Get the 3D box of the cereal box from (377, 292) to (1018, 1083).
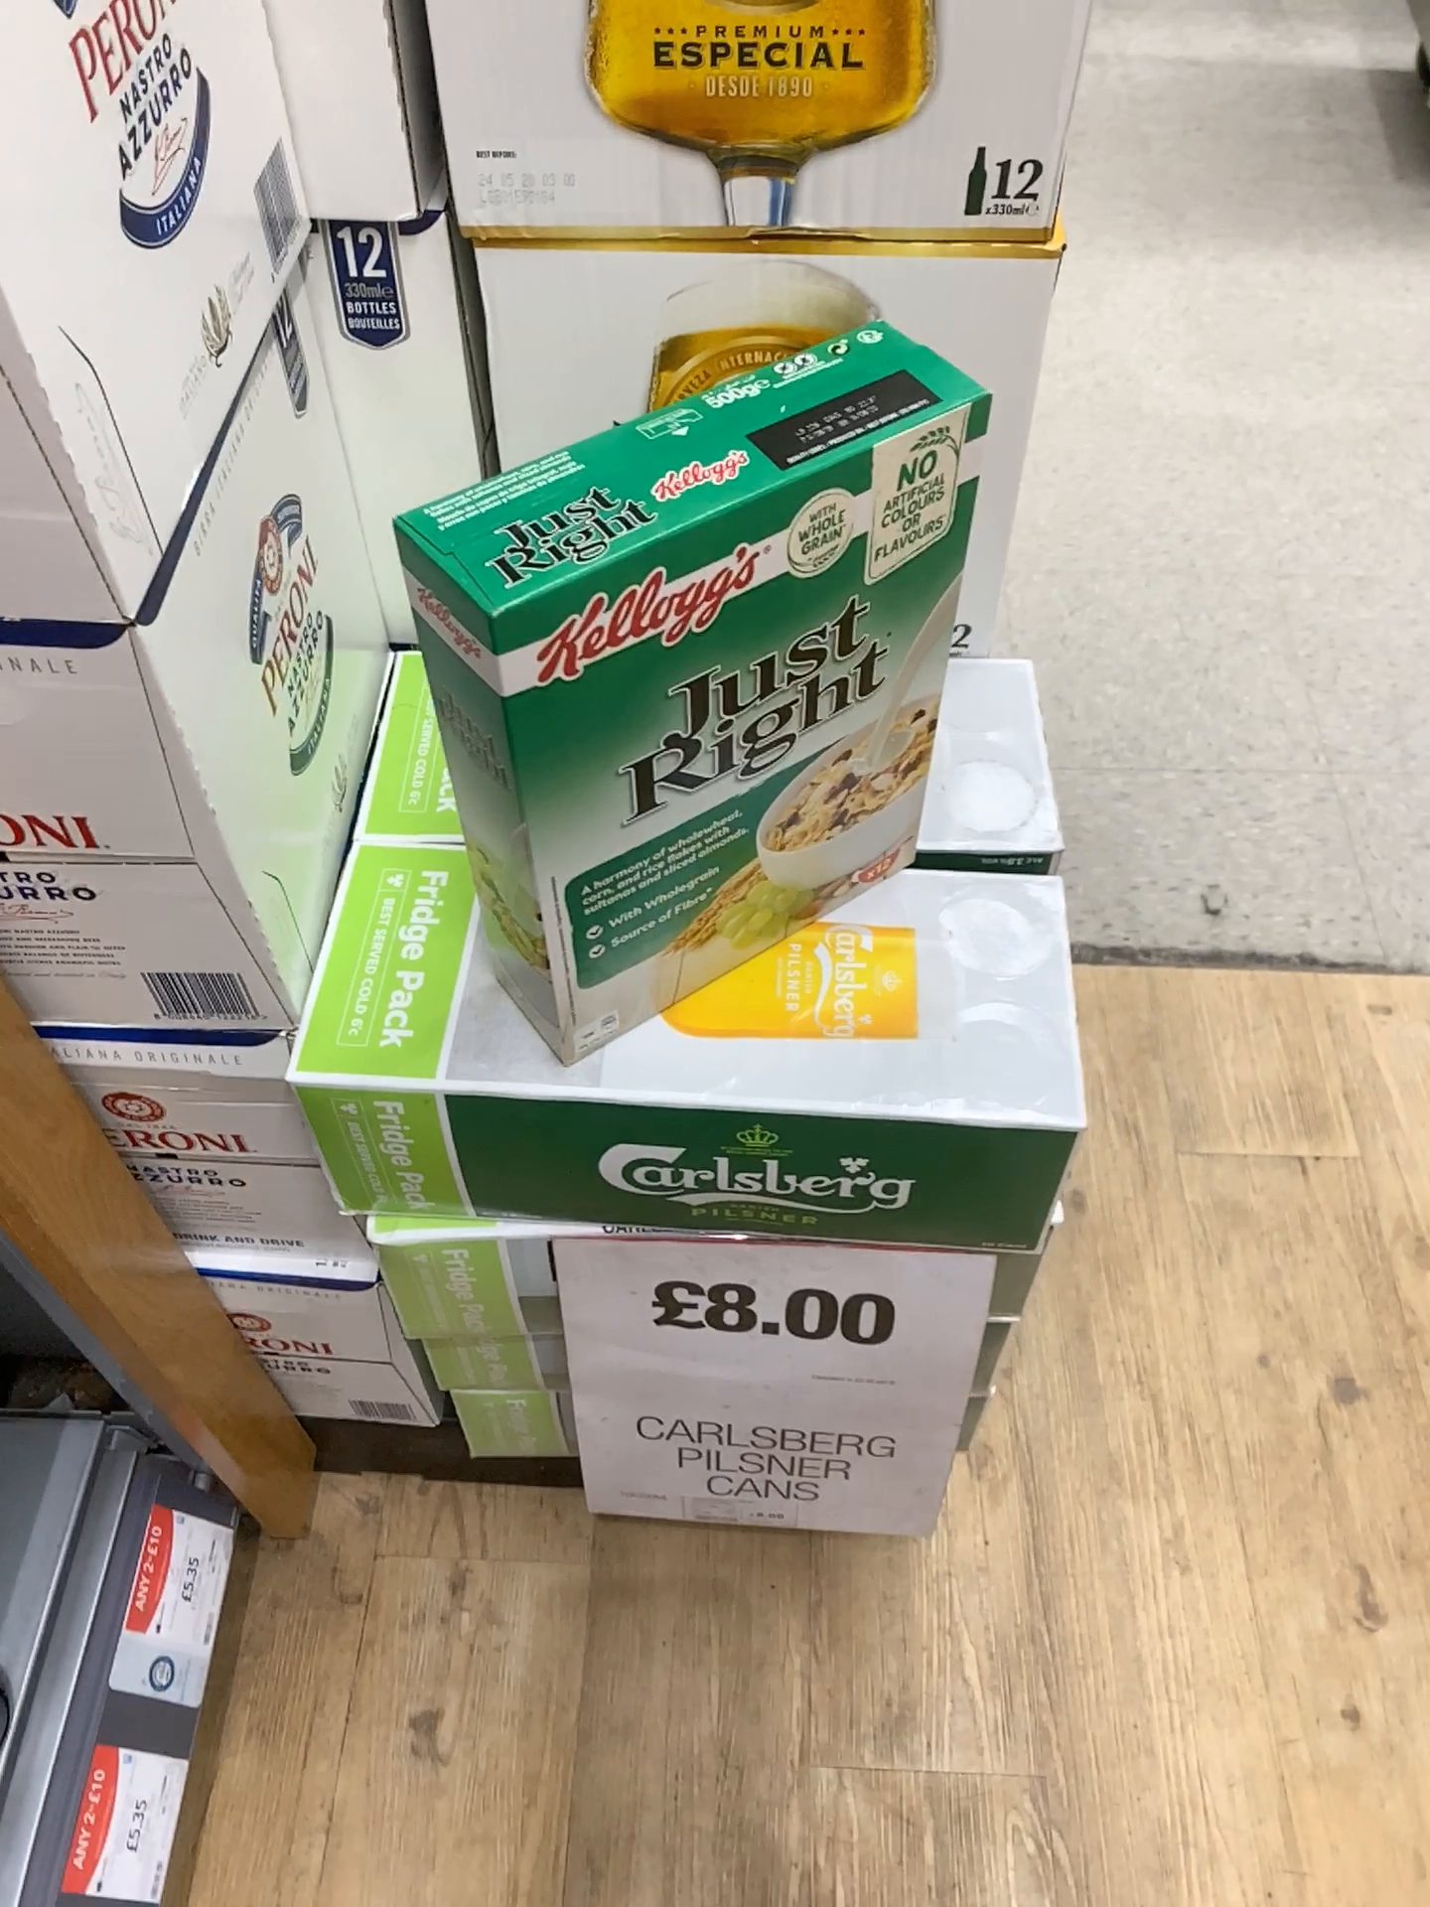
[{"bbox_3d":[-0.001,-0.086,0.542,0.191,0.238,0.070,-30,59,-20],"label":"cereal box"}]
